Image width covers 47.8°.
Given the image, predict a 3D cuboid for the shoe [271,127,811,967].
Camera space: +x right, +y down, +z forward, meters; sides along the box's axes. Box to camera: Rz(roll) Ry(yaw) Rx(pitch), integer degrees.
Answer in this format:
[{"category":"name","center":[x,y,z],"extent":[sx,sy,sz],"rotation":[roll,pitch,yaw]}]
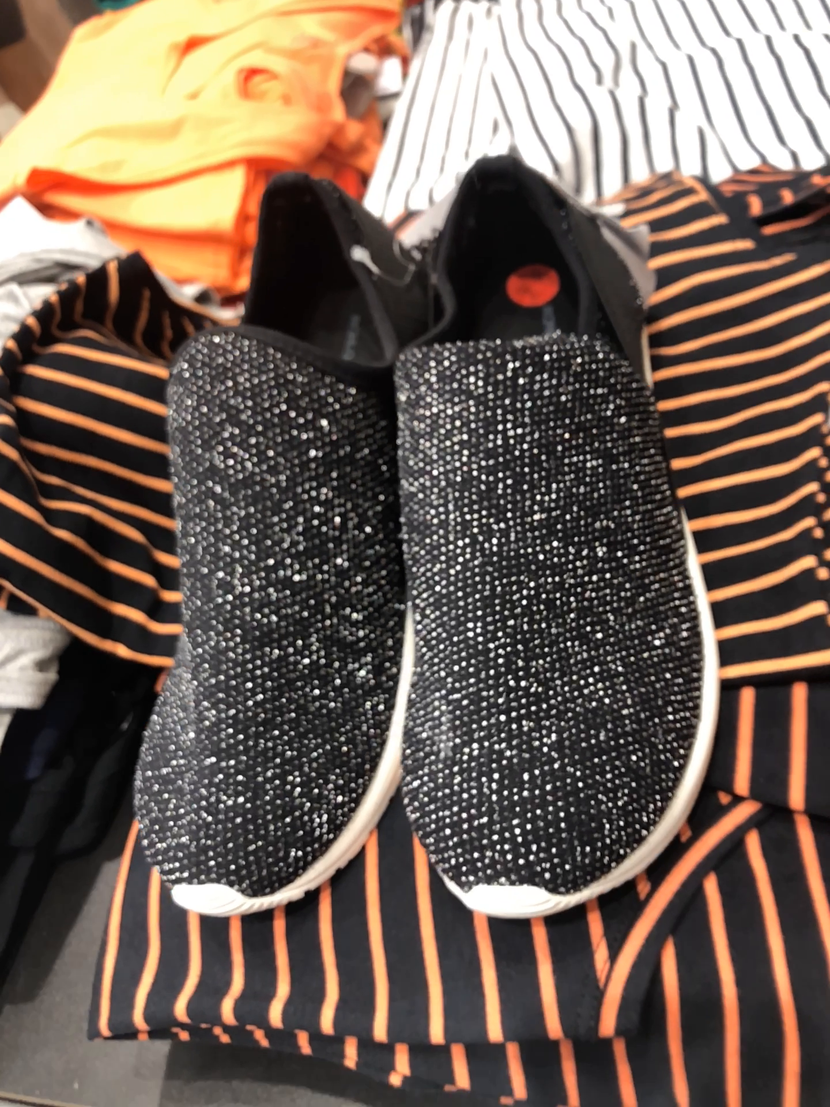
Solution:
[{"category":"shoe","center":[0.042,-0.016,0.292],"extent":[0.100,0.109,0.242],"rotation":[-4,48,12]}]

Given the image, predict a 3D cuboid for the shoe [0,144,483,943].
[{"category":"shoe","center":[-0.046,-0.018,0.308],"extent":[0.100,0.109,0.241],"rotation":[-2,48,14]}]
